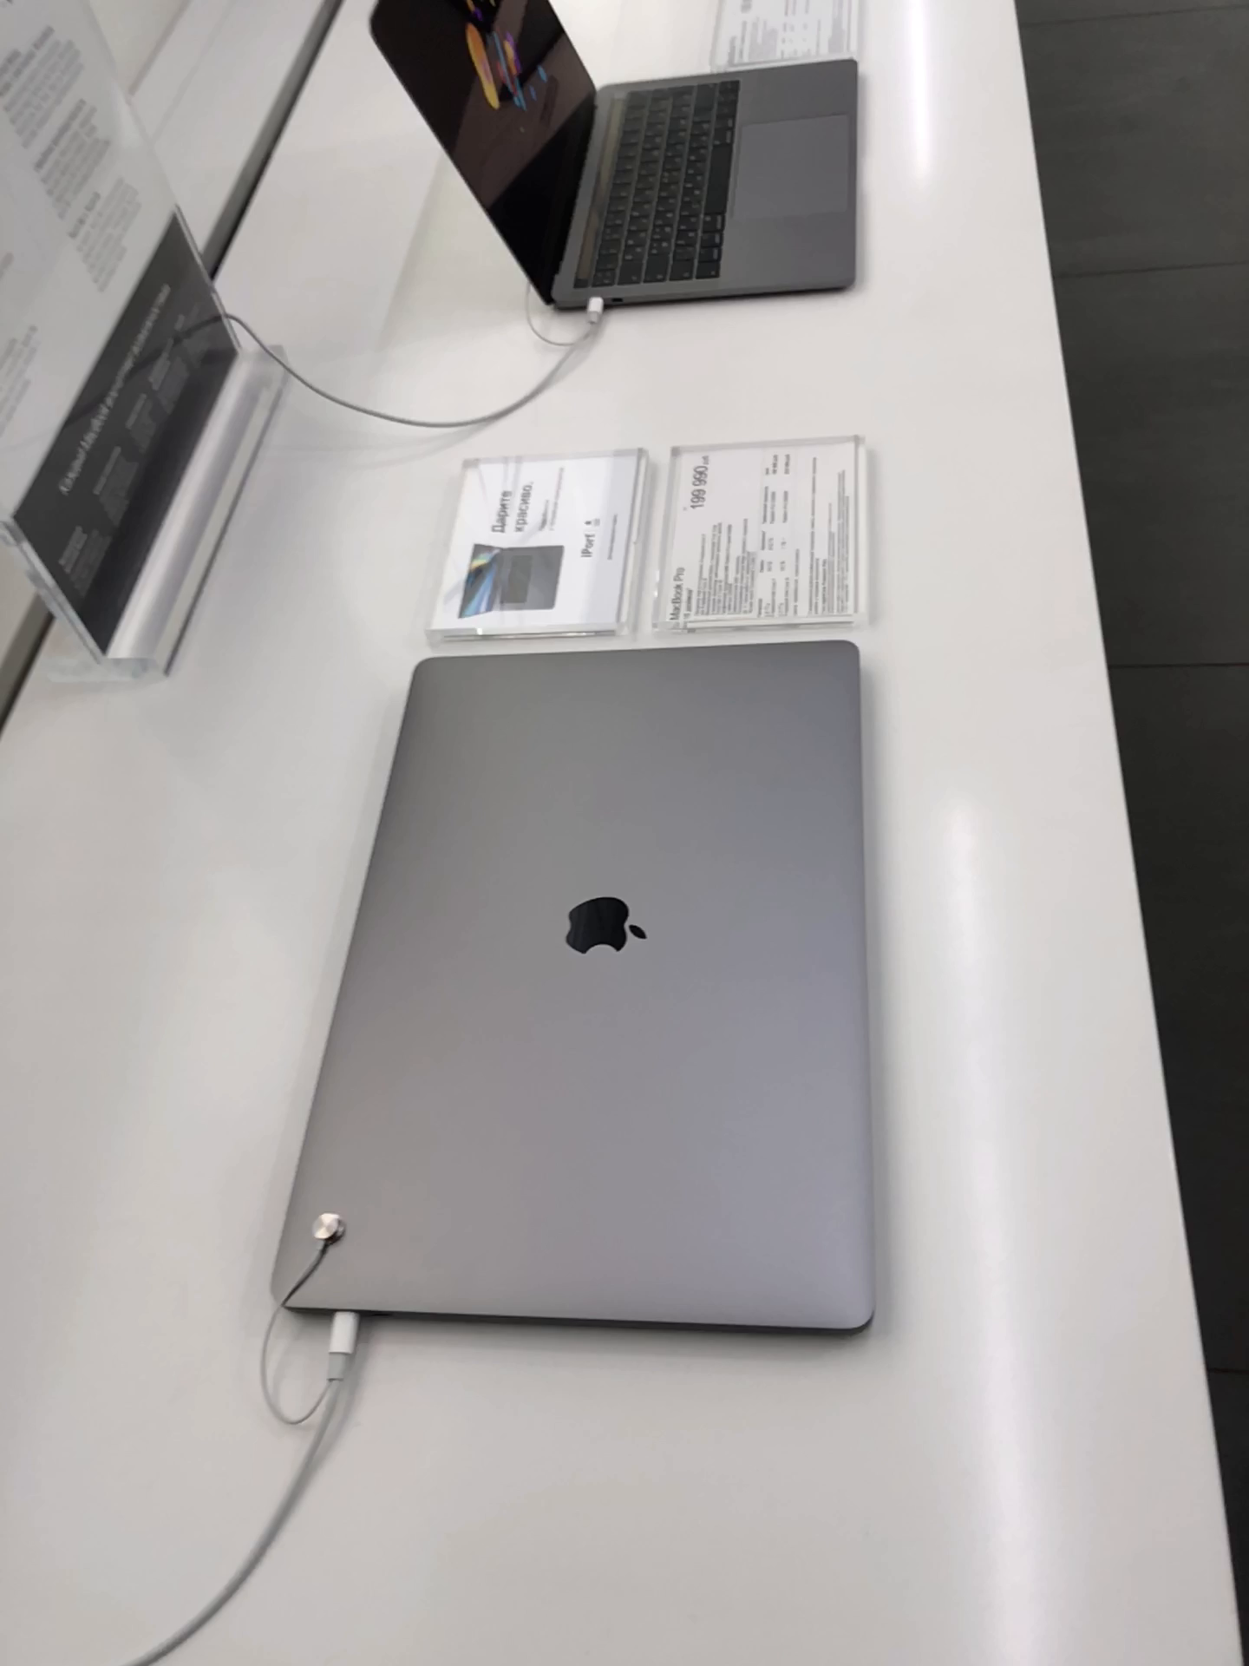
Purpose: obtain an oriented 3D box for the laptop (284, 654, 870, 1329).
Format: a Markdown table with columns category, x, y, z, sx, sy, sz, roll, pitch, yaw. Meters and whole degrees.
| category | x | y | z | sx | sy | sz | roll | pitch | yaw |
| --- | --- | --- | --- | --- | --- | --- | --- | --- | --- |
| laptop | -0.008 | 0.048 | 0.634 | 0.231 | 0.003 | 0.346 | -1 | 54 | 9 |
